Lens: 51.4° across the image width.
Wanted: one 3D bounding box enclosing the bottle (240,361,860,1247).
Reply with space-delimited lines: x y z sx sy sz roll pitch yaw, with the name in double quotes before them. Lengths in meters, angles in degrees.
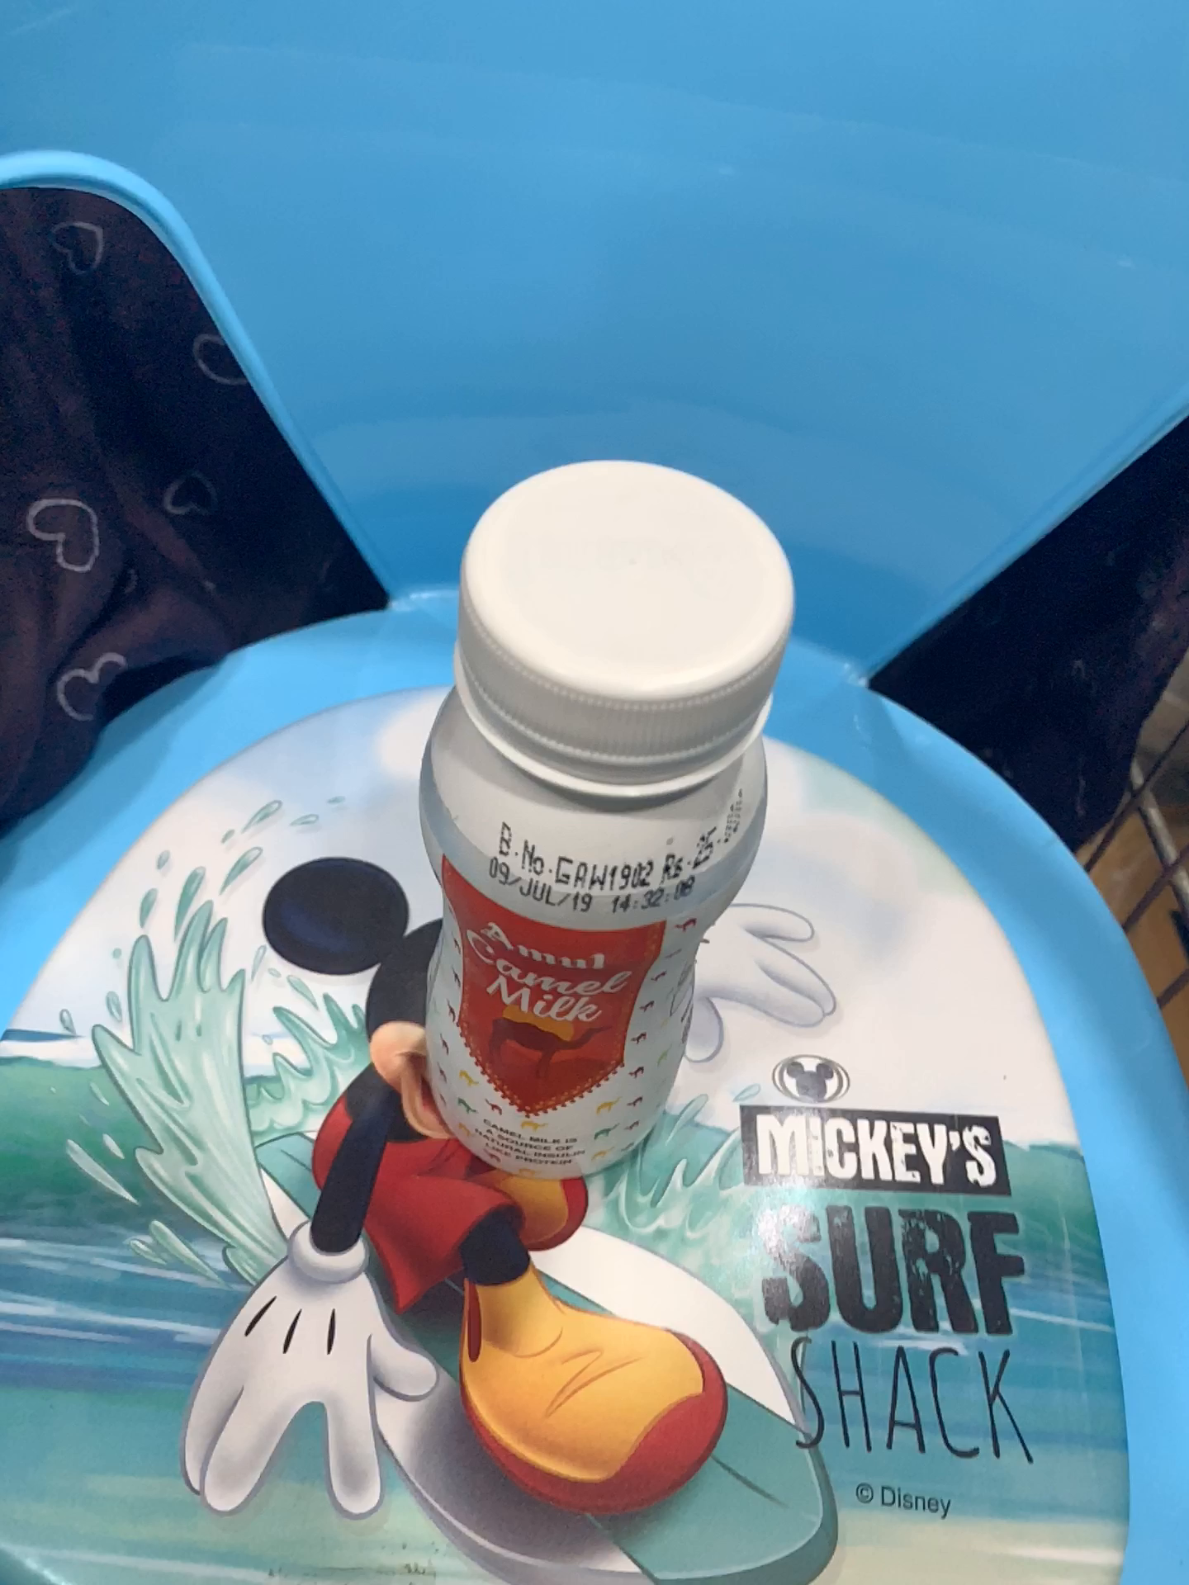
"bottle" -0.007 0.012 0.197 0.060 0.130 0.060 3 50 -4
